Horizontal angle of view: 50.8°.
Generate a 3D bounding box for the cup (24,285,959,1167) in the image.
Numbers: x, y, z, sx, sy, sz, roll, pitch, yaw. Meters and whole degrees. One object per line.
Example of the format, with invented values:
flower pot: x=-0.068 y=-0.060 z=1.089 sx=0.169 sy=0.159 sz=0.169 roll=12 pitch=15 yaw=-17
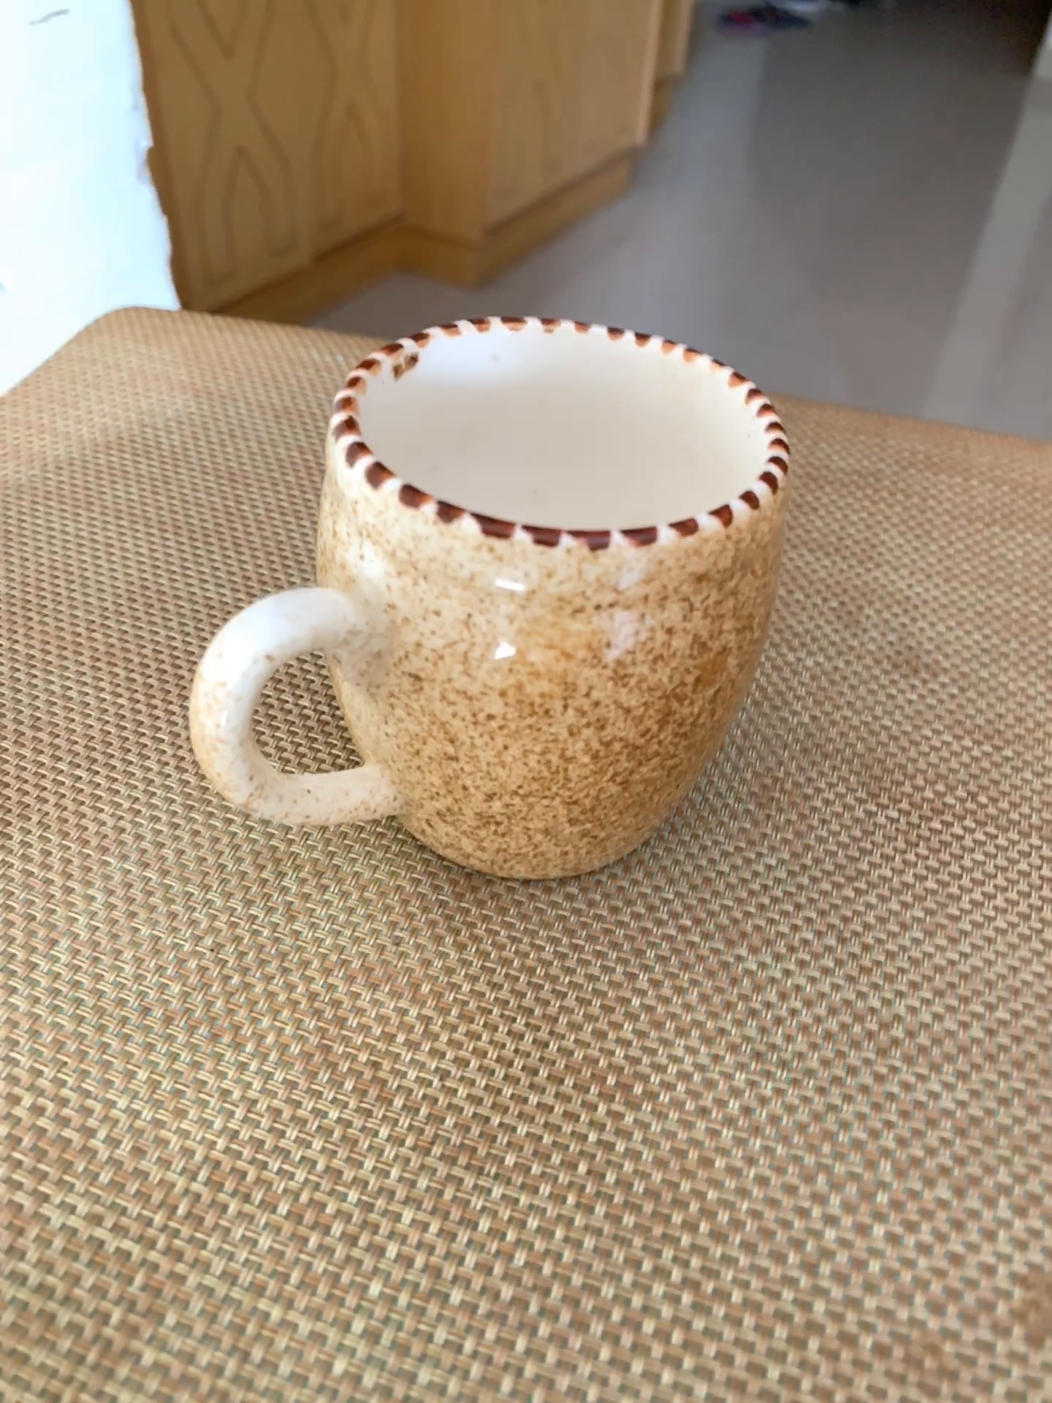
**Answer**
cup: x=-0.005 y=-0.003 z=0.159 sx=0.090 sy=0.069 sz=0.070 roll=-26 pitch=51 yaw=-28
